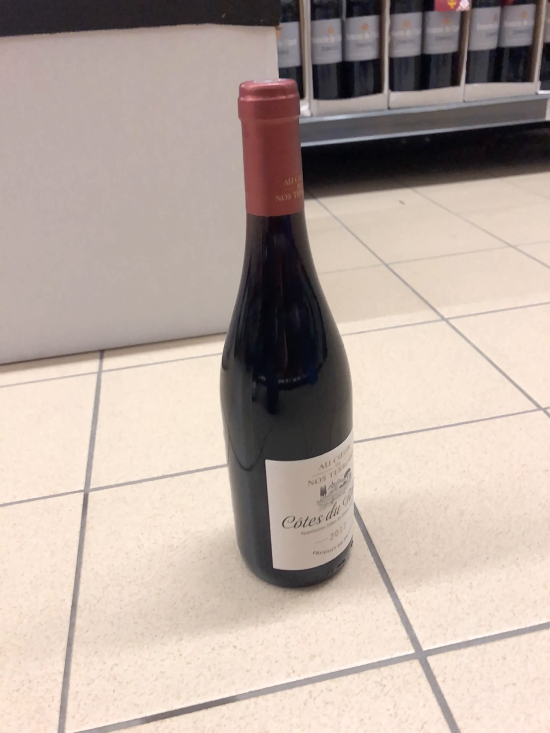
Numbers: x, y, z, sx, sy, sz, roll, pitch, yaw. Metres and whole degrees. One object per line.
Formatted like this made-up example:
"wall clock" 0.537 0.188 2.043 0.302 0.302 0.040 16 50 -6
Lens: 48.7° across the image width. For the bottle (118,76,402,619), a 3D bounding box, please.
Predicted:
"bottle" 0.001 -0.007 0.334 0.090 0.268 0.090 -3 29 2
